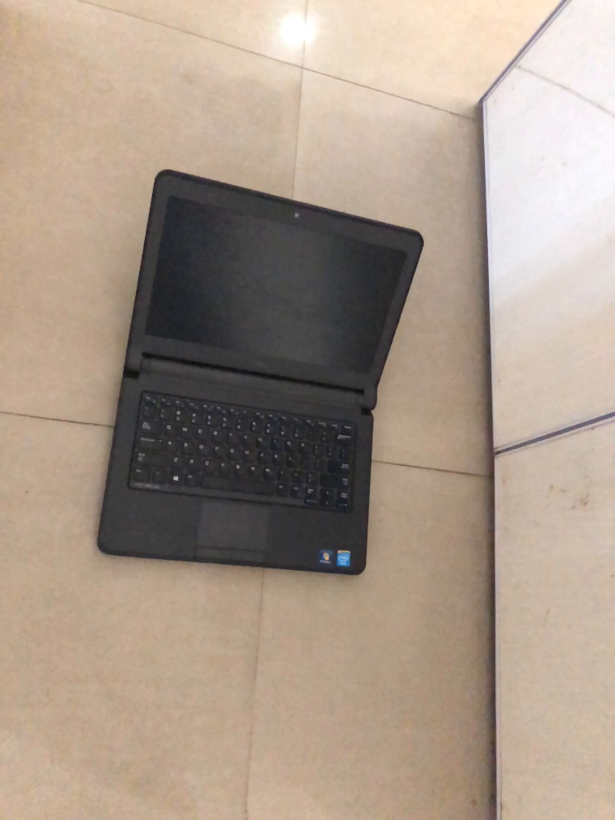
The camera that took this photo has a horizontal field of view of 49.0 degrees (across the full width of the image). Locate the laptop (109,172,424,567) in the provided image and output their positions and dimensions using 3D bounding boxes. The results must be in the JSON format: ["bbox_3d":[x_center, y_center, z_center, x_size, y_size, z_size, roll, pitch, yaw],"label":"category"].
[{"bbox_3d":[-0.042,-0.030,0.797,0.312,0.154,0.392,9,73,-17],"label":"laptop"}]
